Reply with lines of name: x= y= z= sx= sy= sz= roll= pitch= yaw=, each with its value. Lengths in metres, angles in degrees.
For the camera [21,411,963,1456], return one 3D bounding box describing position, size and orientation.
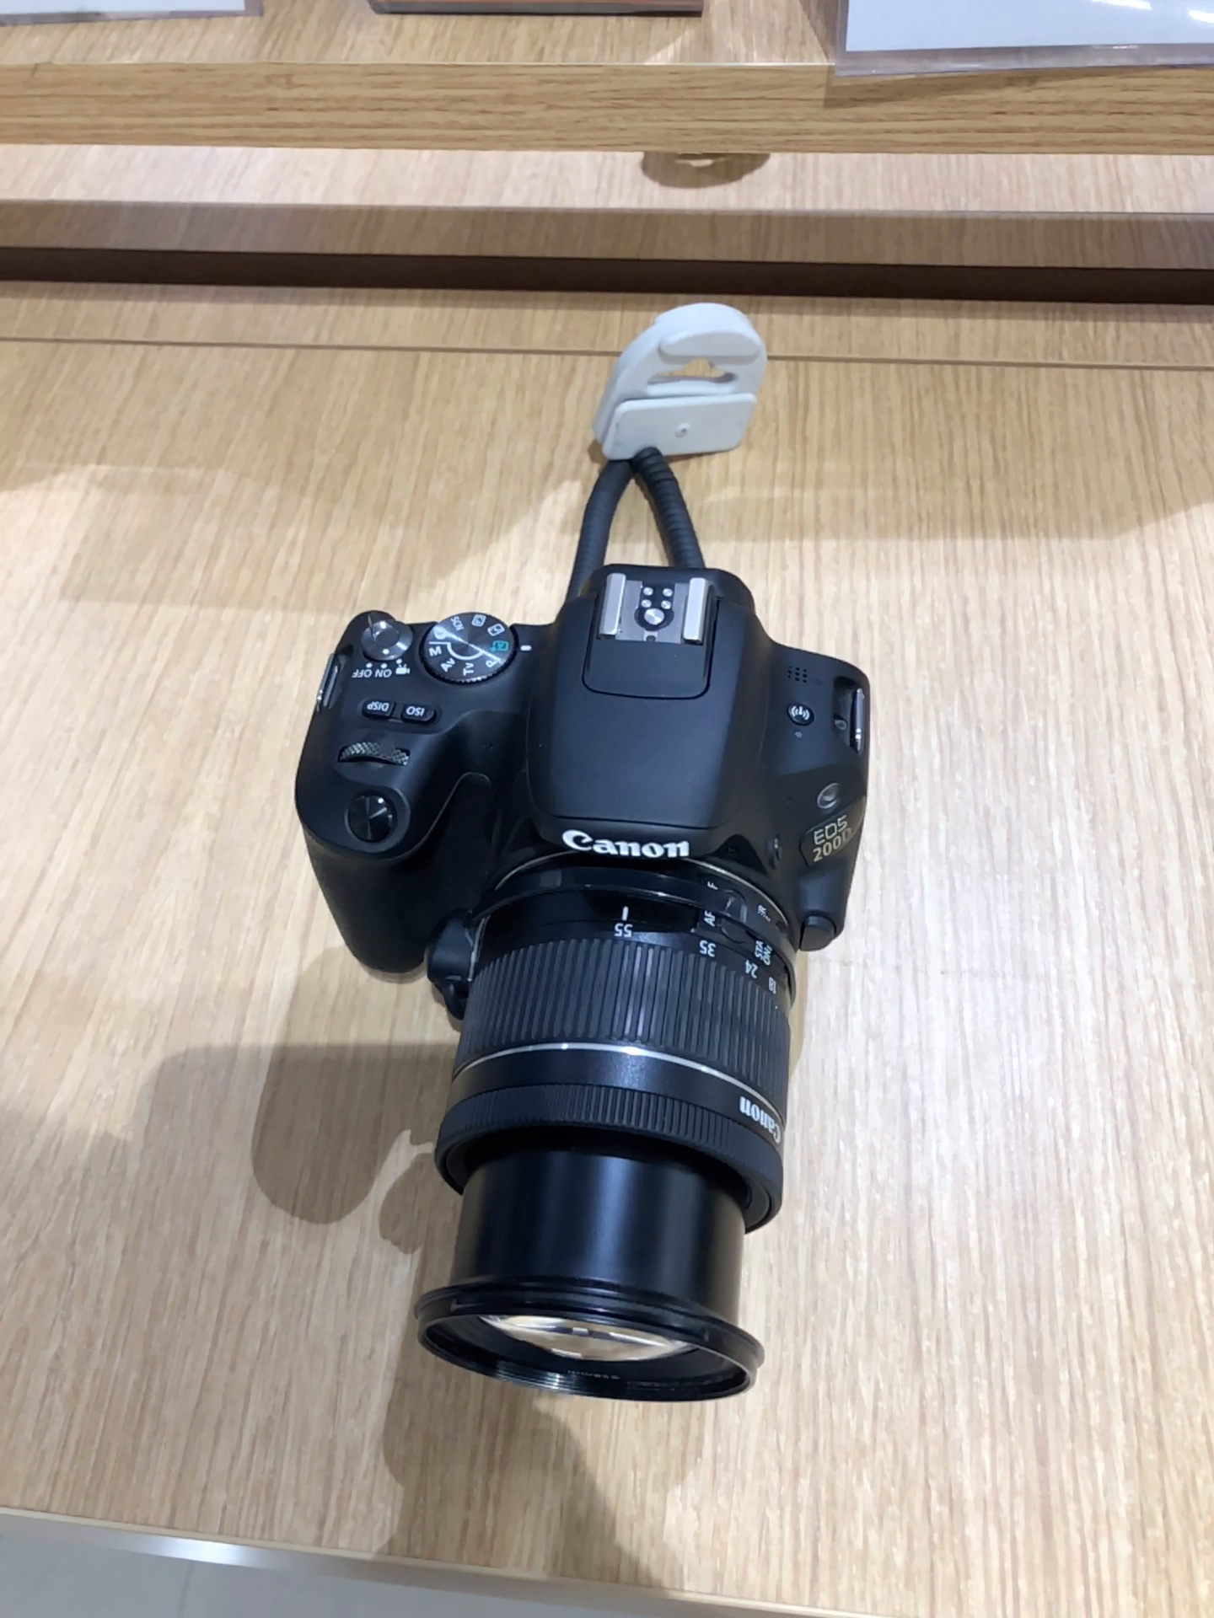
camera: x=-0.005 y=0.019 z=0.255 sx=0.120 sy=0.099 sz=0.161 roll=4 pitch=55 yaw=6
